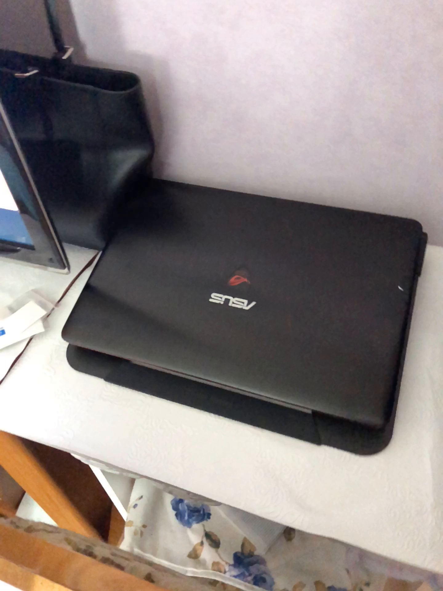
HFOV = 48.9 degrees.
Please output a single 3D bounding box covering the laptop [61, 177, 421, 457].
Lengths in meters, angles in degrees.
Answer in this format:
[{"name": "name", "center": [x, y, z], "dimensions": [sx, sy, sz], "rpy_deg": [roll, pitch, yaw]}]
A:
[{"name": "laptop", "center": [0.027, 0.000, 0.624], "dimensions": [0.394, 0.060, 0.267], "rpy_deg": [12, 62, 17]}]
